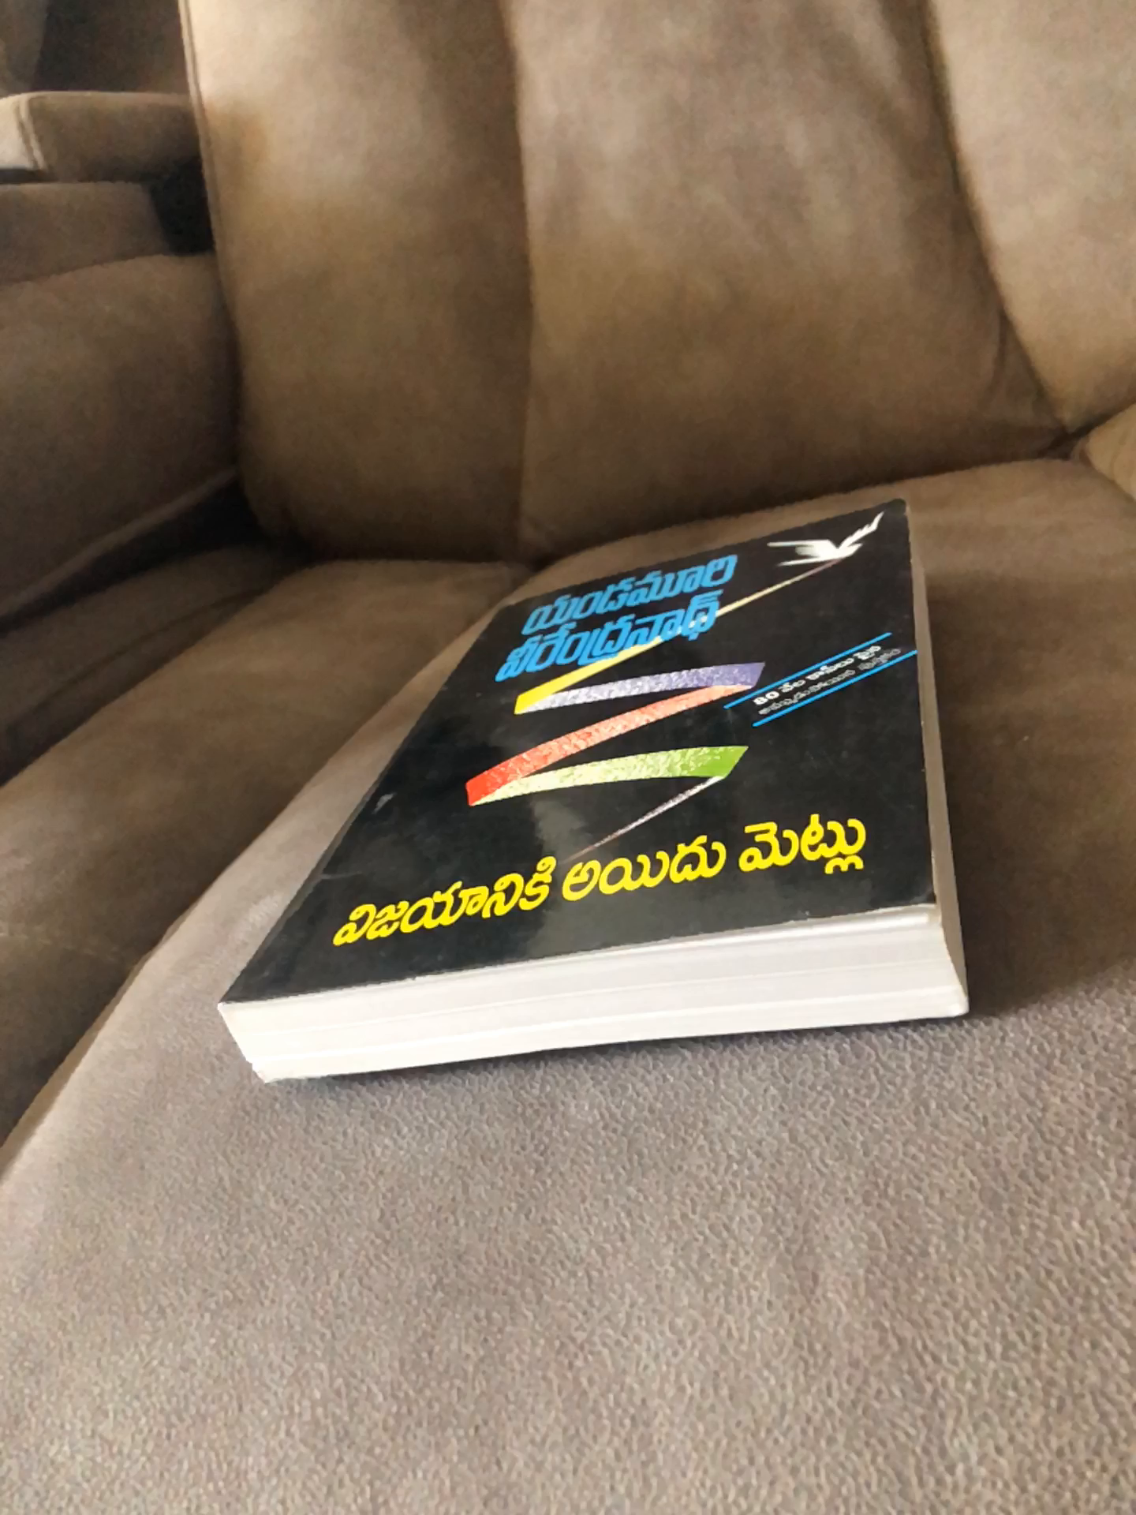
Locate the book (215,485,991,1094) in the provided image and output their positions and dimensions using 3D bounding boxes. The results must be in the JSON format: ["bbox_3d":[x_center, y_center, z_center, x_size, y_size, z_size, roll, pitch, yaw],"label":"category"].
[{"bbox_3d":[0.023,-0.007,0.322,0.144,0.026,0.213,-11,26,19],"label":"book"}]
